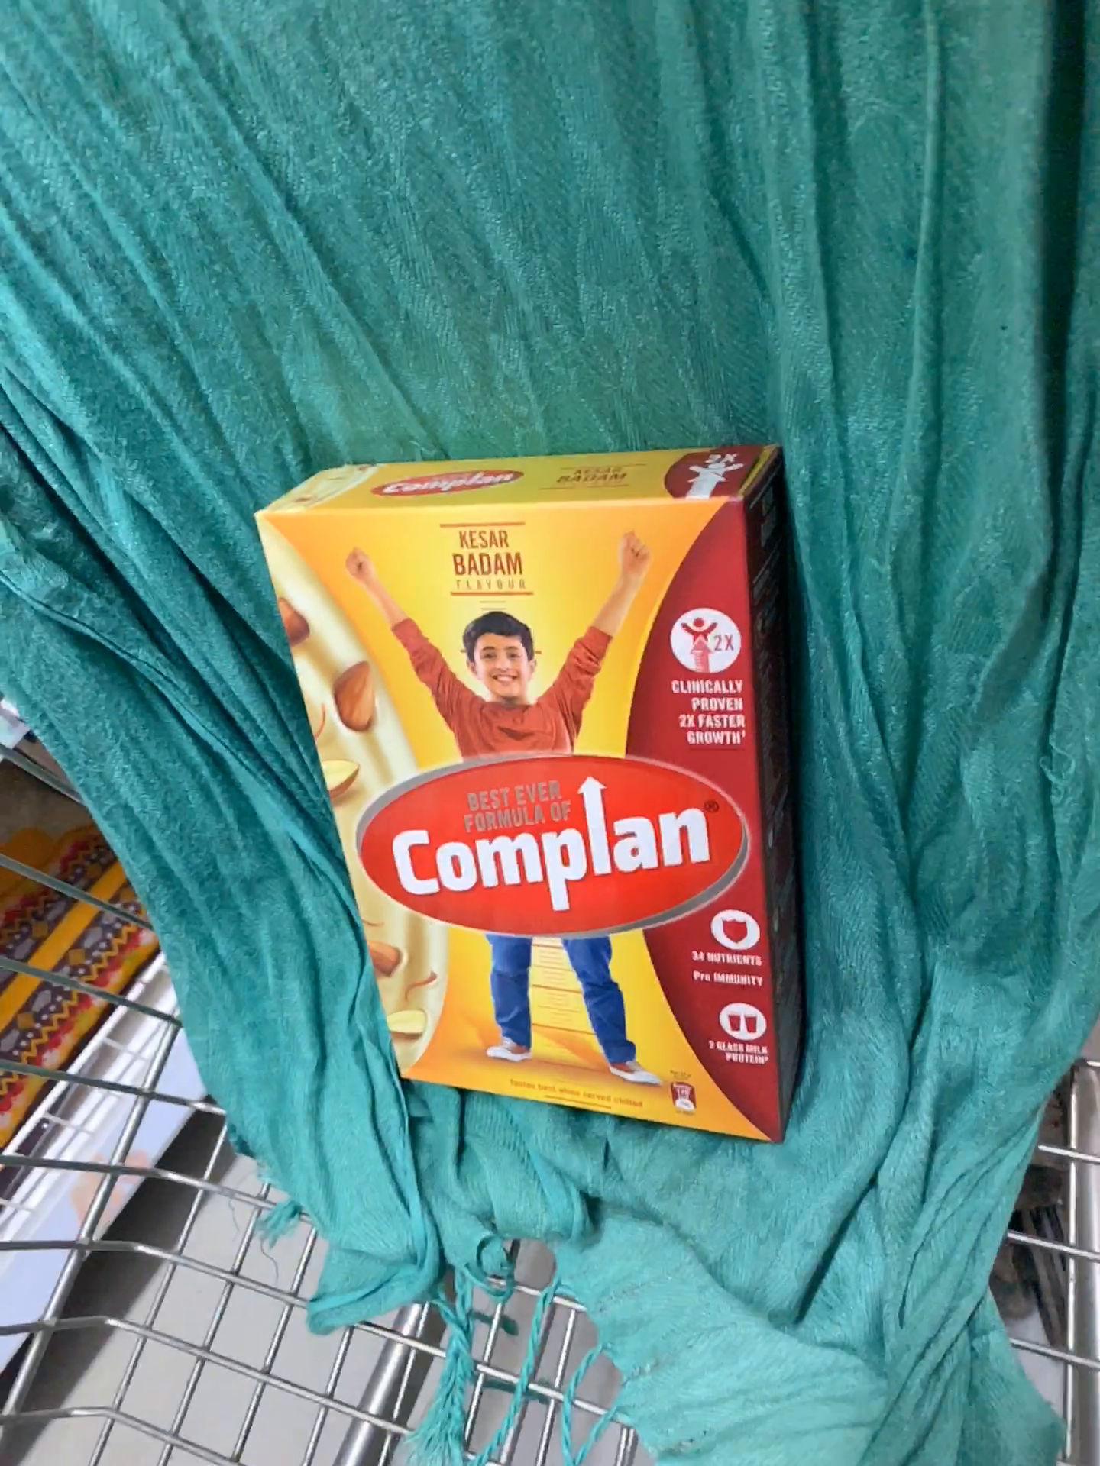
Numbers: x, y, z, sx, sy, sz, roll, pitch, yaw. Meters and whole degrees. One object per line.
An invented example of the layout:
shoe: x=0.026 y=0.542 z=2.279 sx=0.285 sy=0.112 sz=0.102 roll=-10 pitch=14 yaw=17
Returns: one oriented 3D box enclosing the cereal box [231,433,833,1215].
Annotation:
cereal box: x=0.003 y=0.024 z=0.328 sx=0.140 sy=0.200 sz=0.060 roll=2 pitch=21 yaw=24
